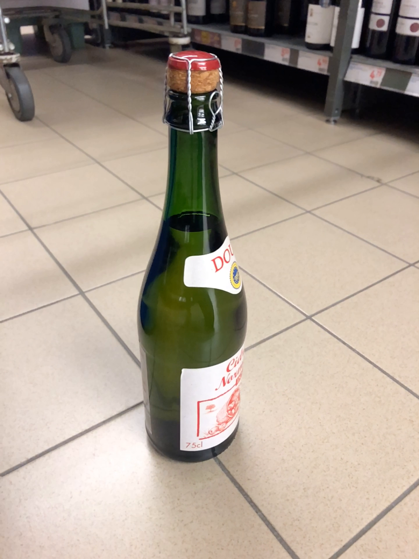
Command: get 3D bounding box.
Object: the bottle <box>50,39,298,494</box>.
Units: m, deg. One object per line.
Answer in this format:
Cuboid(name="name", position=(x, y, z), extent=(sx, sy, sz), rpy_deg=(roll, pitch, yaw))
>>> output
Cuboid(name="bottle", position=(-0.015, 0.004, 0.321), extent=(0.090, 0.288, 0.101), rpy_deg=(16, 37, 22))
